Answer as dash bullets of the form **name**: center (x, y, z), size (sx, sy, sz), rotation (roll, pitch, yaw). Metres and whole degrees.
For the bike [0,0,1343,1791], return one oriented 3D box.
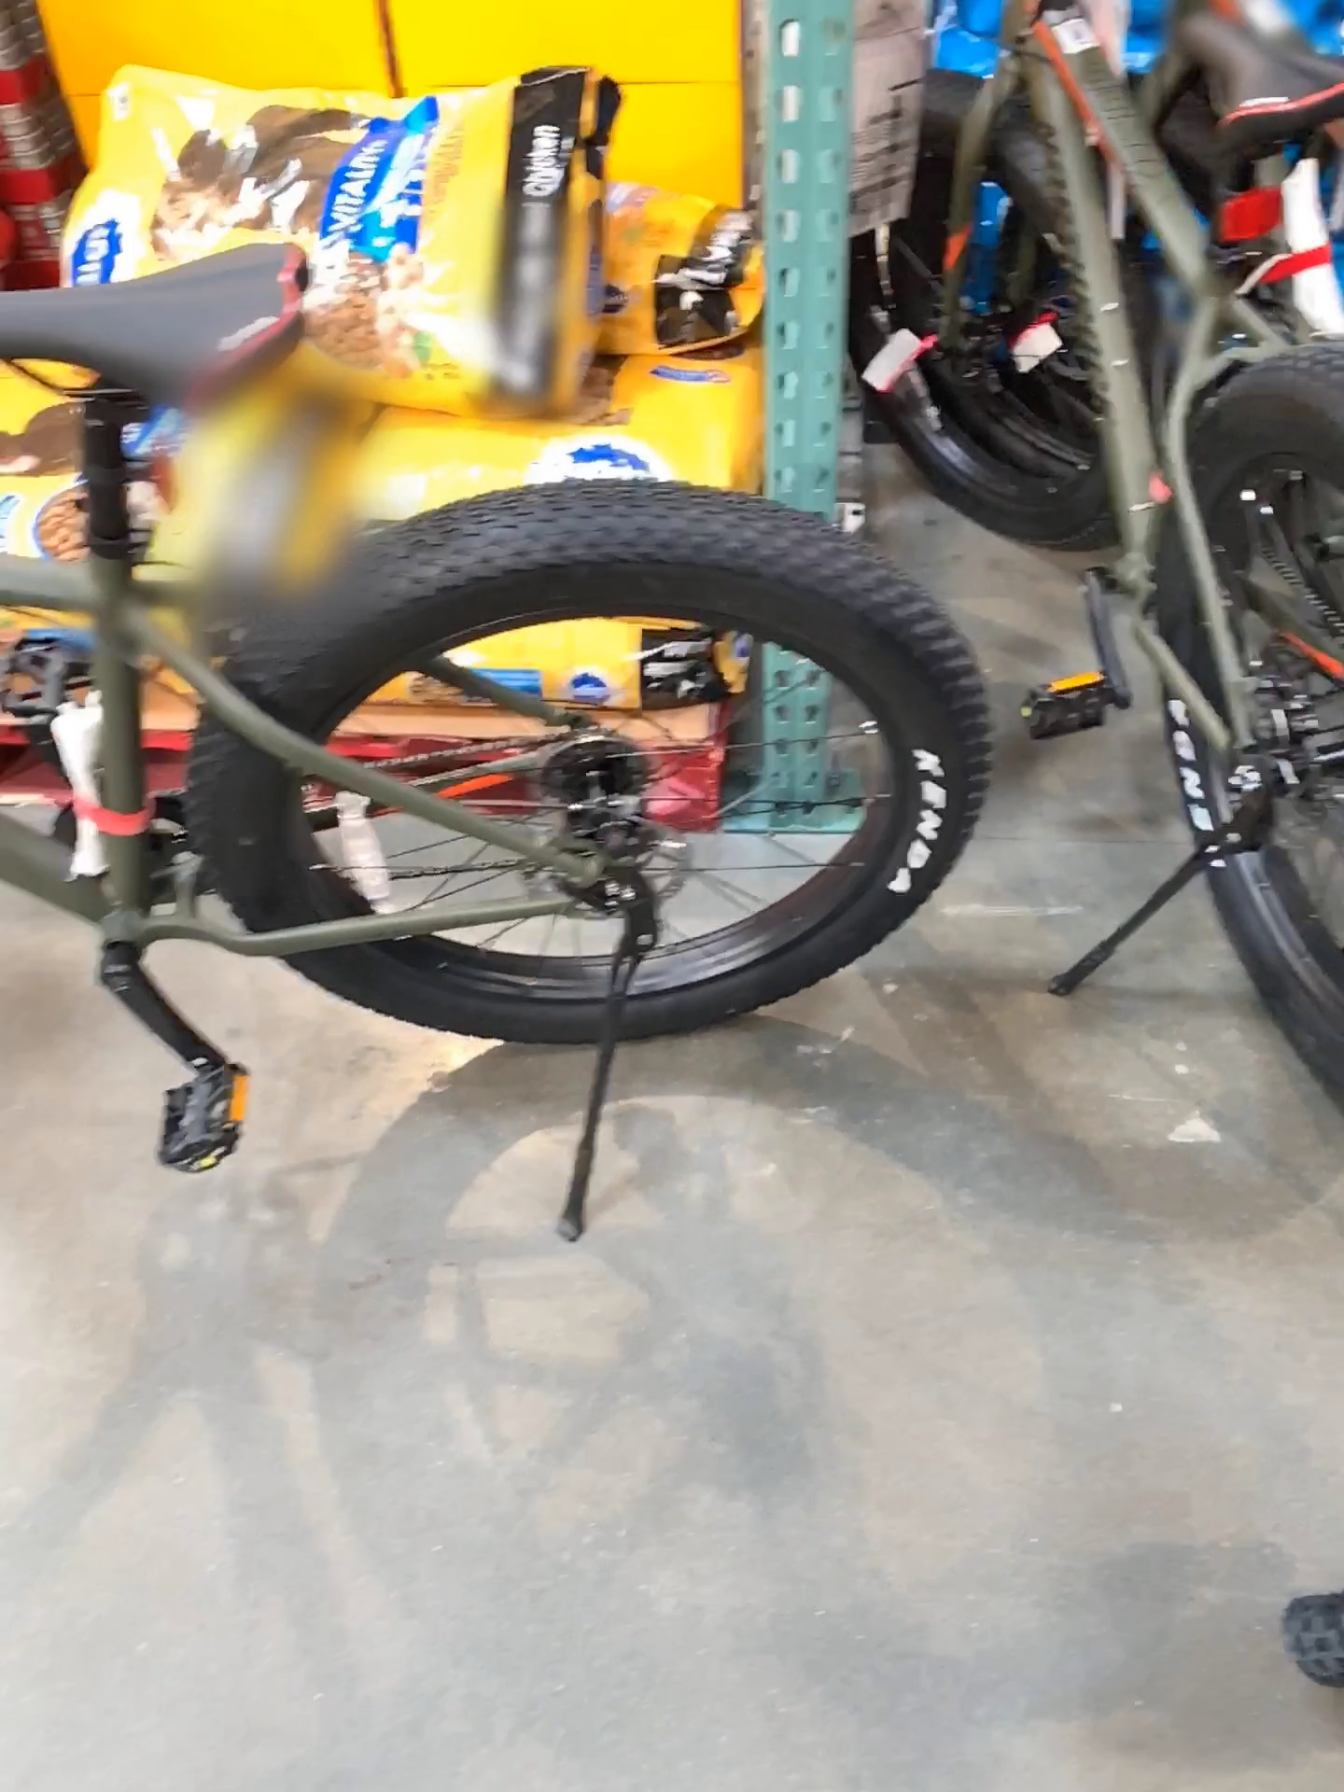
- **bike**: center (-0.378, -0.022, 0.854), size (1.714, 1.203, 0.594), rotation (-14, 44, -22)
